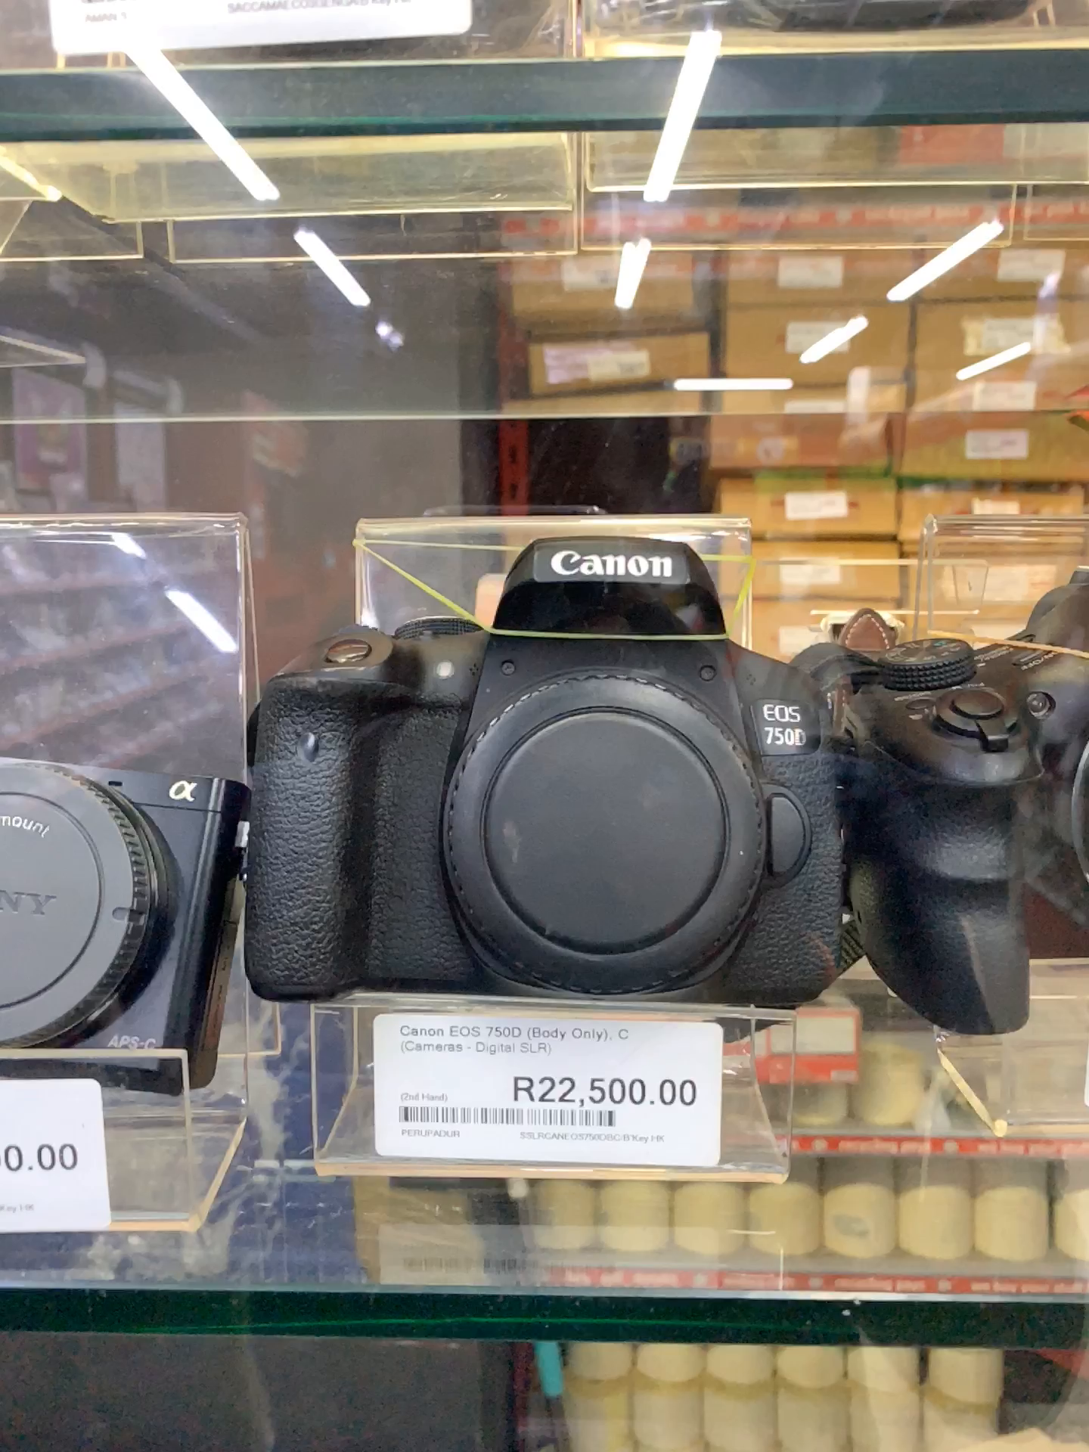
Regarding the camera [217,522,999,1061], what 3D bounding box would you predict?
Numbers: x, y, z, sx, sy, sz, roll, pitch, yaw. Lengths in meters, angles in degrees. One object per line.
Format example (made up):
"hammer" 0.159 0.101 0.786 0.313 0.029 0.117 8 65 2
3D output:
"camera" 0.008 0.008 0.227 0.130 0.090 0.070 2 8 -3
